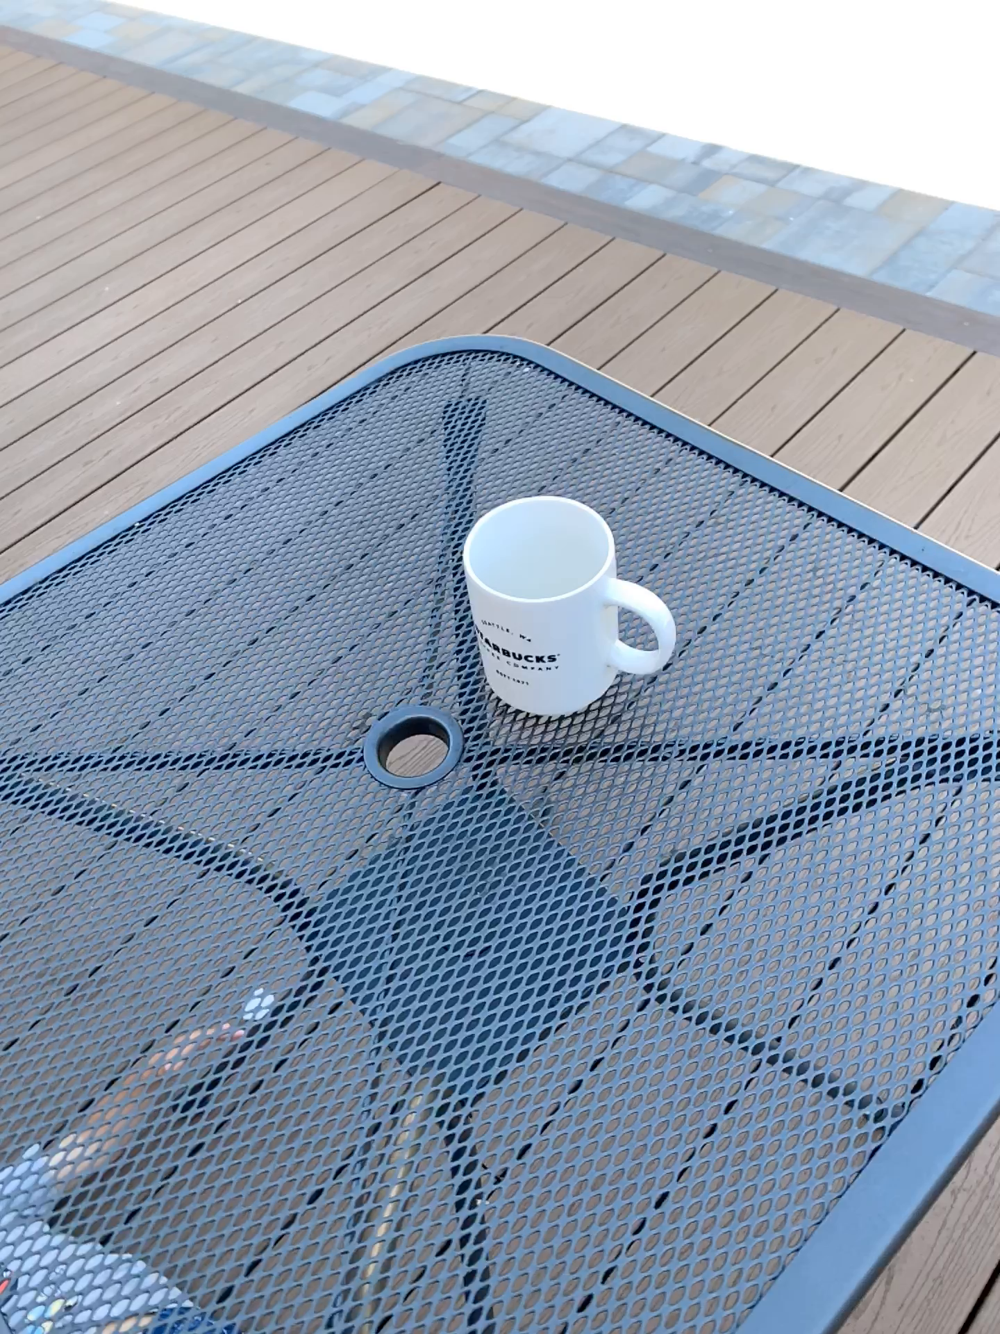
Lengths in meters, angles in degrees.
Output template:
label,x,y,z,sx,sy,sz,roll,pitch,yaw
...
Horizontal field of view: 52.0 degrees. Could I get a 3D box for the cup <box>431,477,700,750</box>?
label,x,y,z,sx,sy,sz,roll,pitch,yaw
cup,0.040,-0.031,0.583,0.120,0.100,0.080,18,56,22
